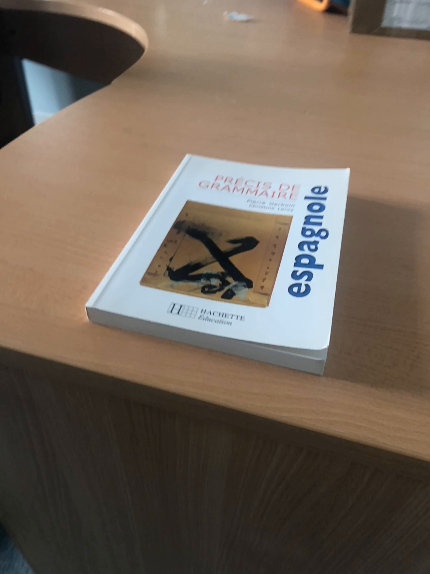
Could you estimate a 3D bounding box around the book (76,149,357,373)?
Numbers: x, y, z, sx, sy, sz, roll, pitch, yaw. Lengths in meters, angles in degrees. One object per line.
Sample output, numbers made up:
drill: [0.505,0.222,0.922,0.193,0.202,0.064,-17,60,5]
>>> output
book: [0.022,-0.045,0.407,0.180,0.020,0.242,10,43,11]
